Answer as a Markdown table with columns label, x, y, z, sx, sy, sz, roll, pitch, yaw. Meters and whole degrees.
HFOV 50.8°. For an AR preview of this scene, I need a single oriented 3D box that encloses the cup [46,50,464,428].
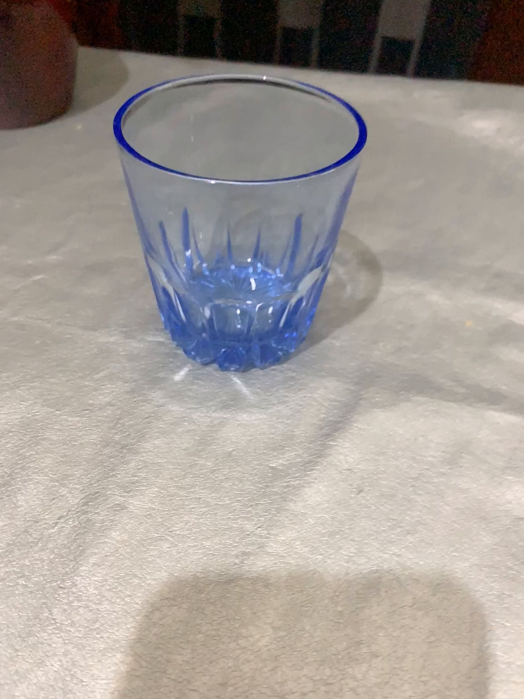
| label | x | y | z | sx | sy | sz | roll | pitch | yaw |
| --- | --- | --- | --- | --- | --- | --- | --- | --- | --- |
| cup | -0.006 | -0.045 | 0.191 | 0.090 | 0.070 | 0.090 | 3 | 46 | -3 |
